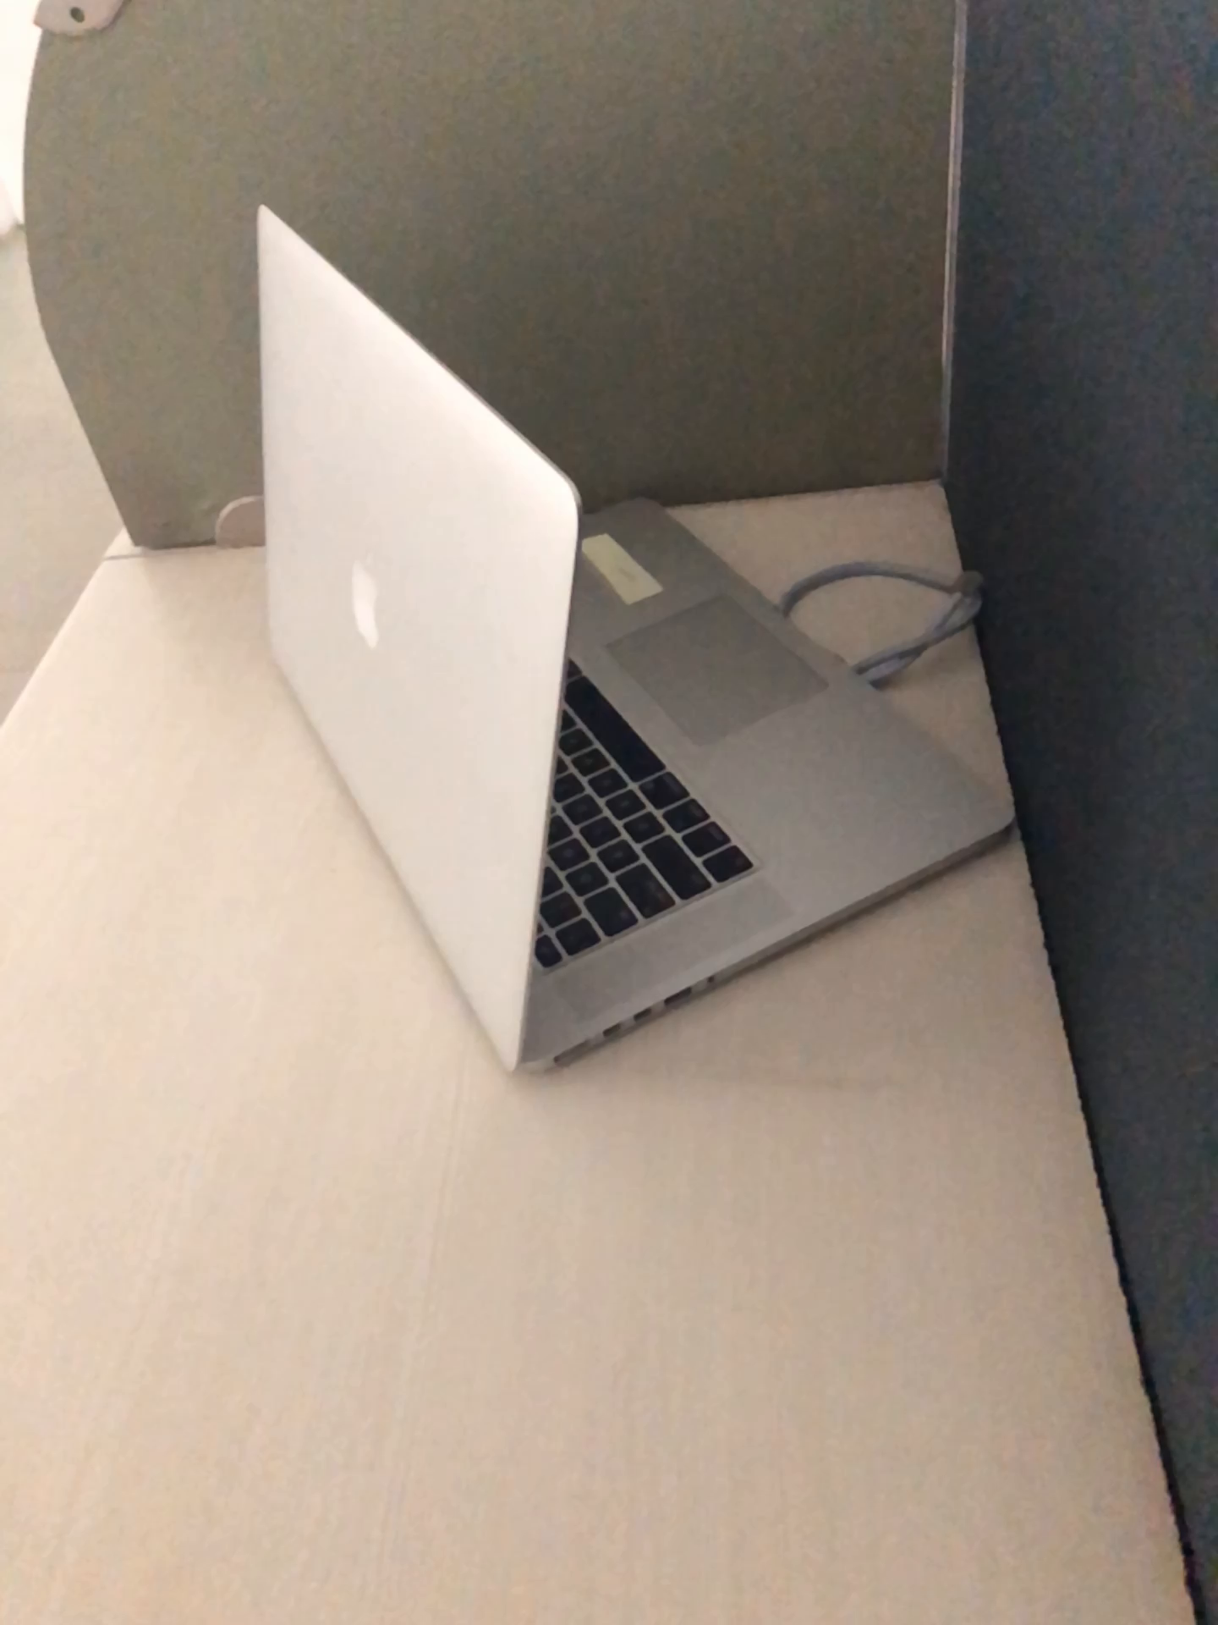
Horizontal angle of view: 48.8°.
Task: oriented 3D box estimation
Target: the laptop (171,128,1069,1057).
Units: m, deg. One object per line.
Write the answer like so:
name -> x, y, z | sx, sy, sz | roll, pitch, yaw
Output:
laptop -> -0.008, -0.124, 0.611 | 0.243, 0.233, 0.323 | -23, 43, -14
